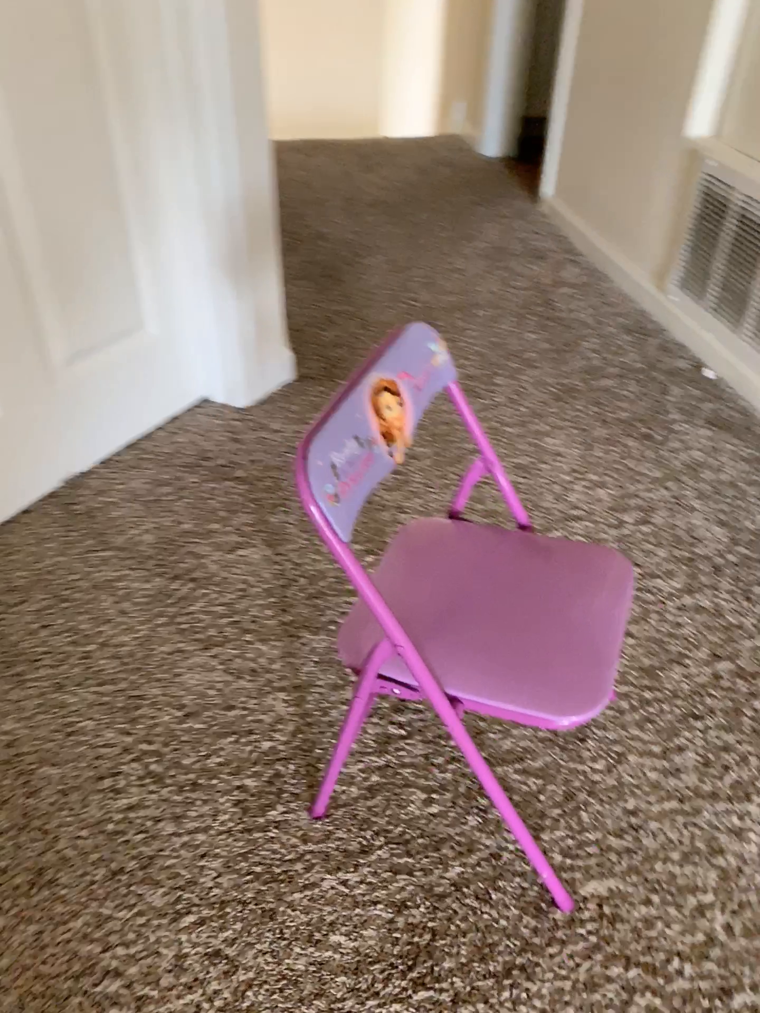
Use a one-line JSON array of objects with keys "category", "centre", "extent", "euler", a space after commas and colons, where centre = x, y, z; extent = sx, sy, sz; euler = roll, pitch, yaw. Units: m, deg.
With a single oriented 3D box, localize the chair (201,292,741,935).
[{"category": "chair", "centre": [0.106, 0.097, 0.835], "extent": [0.390, 0.468, 0.382], "euler": [14, 41, 15]}]
